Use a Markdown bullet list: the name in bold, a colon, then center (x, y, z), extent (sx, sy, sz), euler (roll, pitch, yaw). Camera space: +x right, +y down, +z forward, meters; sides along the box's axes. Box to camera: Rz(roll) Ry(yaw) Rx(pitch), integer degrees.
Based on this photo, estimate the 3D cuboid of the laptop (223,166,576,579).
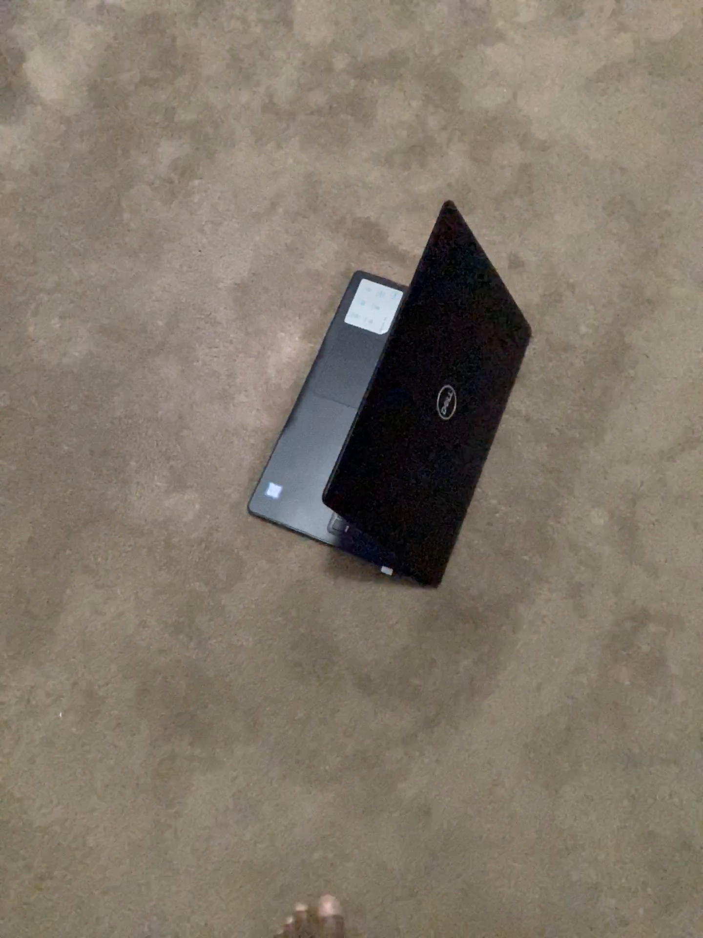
- **laptop**: center (0.057, -0.106, 0.844), extent (0.251, 0.202, 0.377), euler (21, 75, 8)
